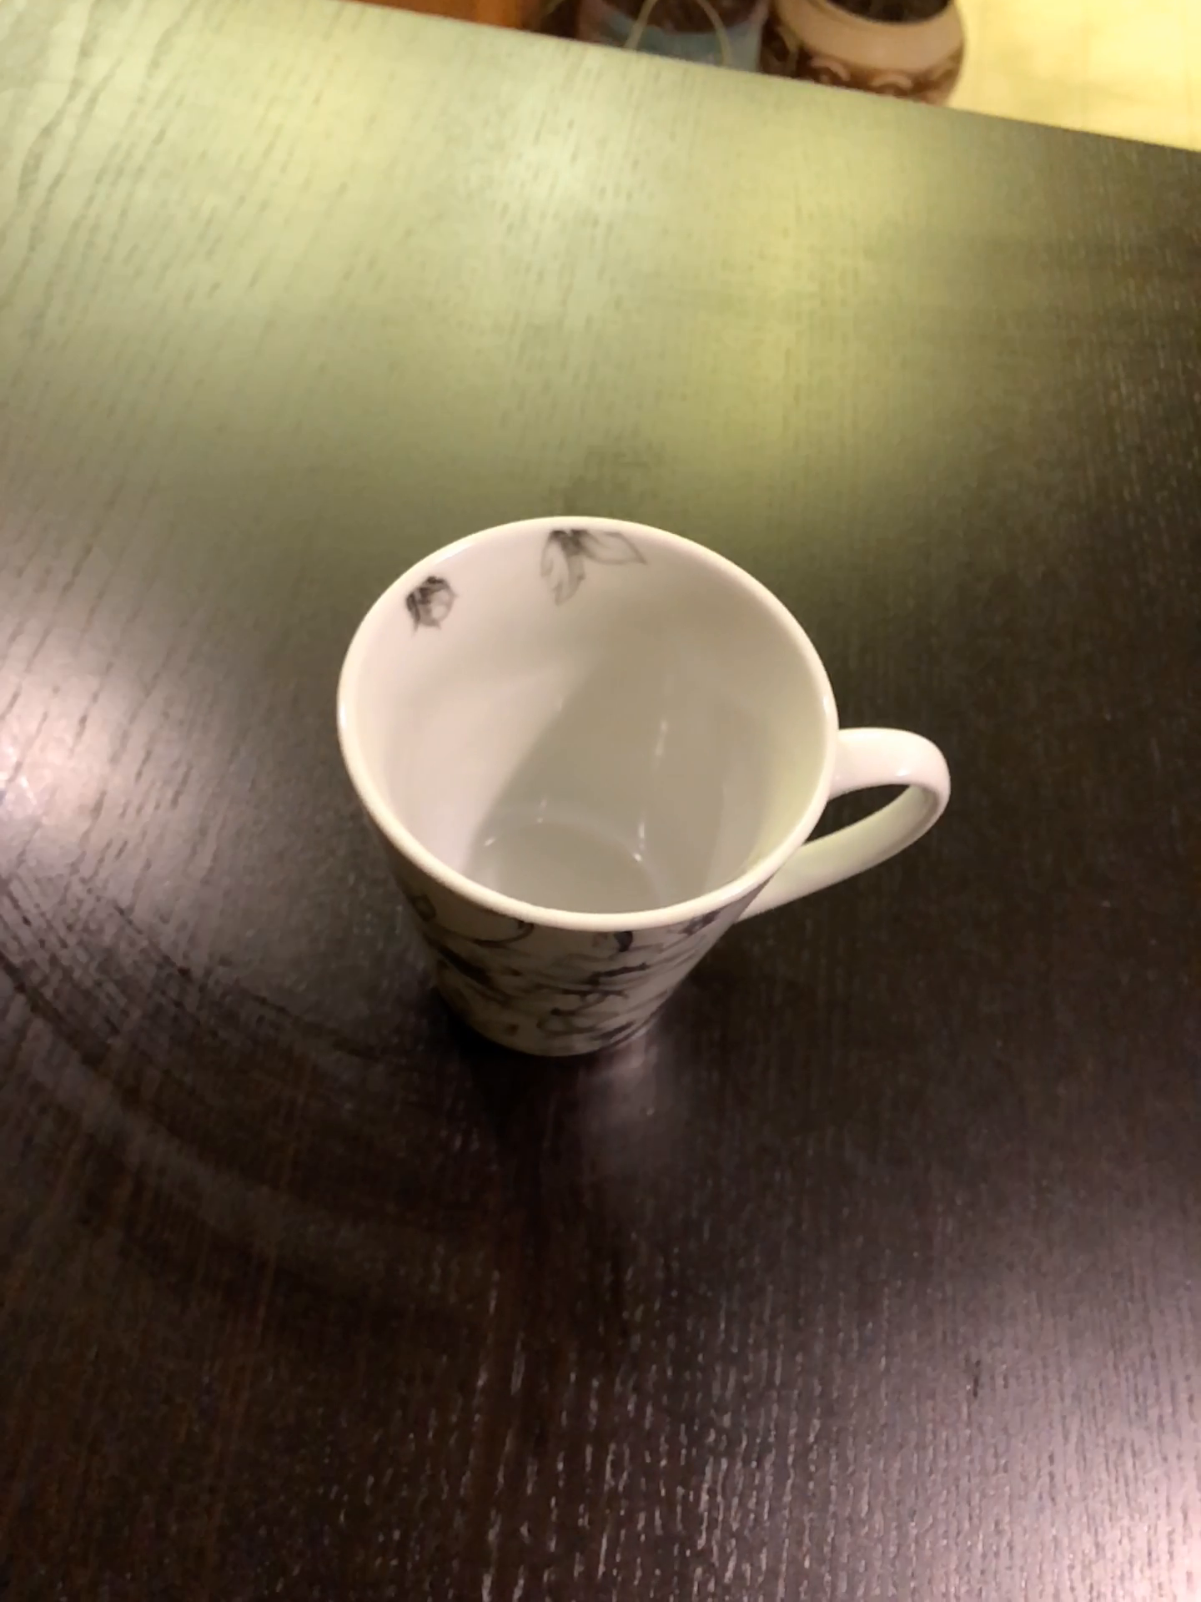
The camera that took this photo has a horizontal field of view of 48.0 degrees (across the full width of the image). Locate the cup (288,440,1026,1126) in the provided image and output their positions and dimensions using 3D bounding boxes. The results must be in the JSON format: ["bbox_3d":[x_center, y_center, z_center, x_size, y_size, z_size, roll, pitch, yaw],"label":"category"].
[{"bbox_3d":[0.001,-0.002,0.288,0.120,0.100,0.100,-5,60,-10],"label":"cup"}]
